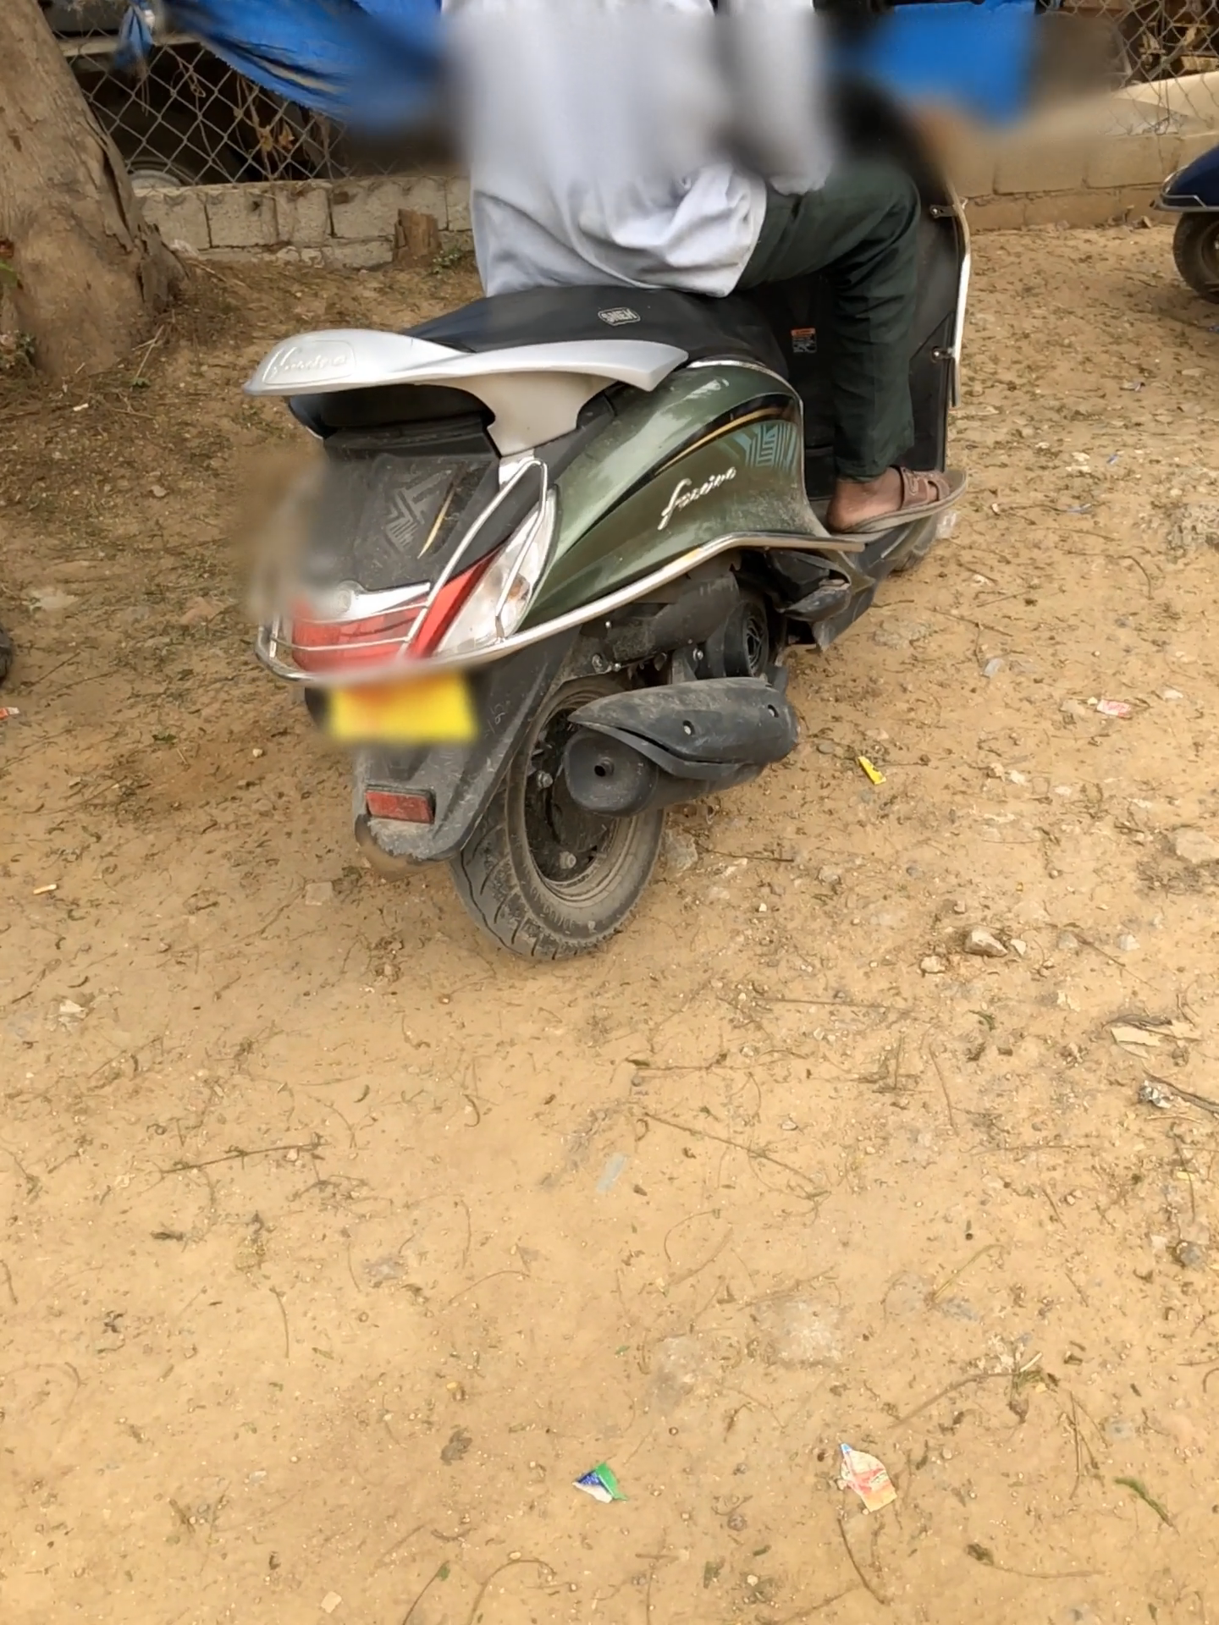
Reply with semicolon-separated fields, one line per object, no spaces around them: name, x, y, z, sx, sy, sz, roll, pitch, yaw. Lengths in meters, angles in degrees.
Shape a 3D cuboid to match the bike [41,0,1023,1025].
bike;0.071;-0.768;2.092;0.622;1.054;1.733;14;39;23
